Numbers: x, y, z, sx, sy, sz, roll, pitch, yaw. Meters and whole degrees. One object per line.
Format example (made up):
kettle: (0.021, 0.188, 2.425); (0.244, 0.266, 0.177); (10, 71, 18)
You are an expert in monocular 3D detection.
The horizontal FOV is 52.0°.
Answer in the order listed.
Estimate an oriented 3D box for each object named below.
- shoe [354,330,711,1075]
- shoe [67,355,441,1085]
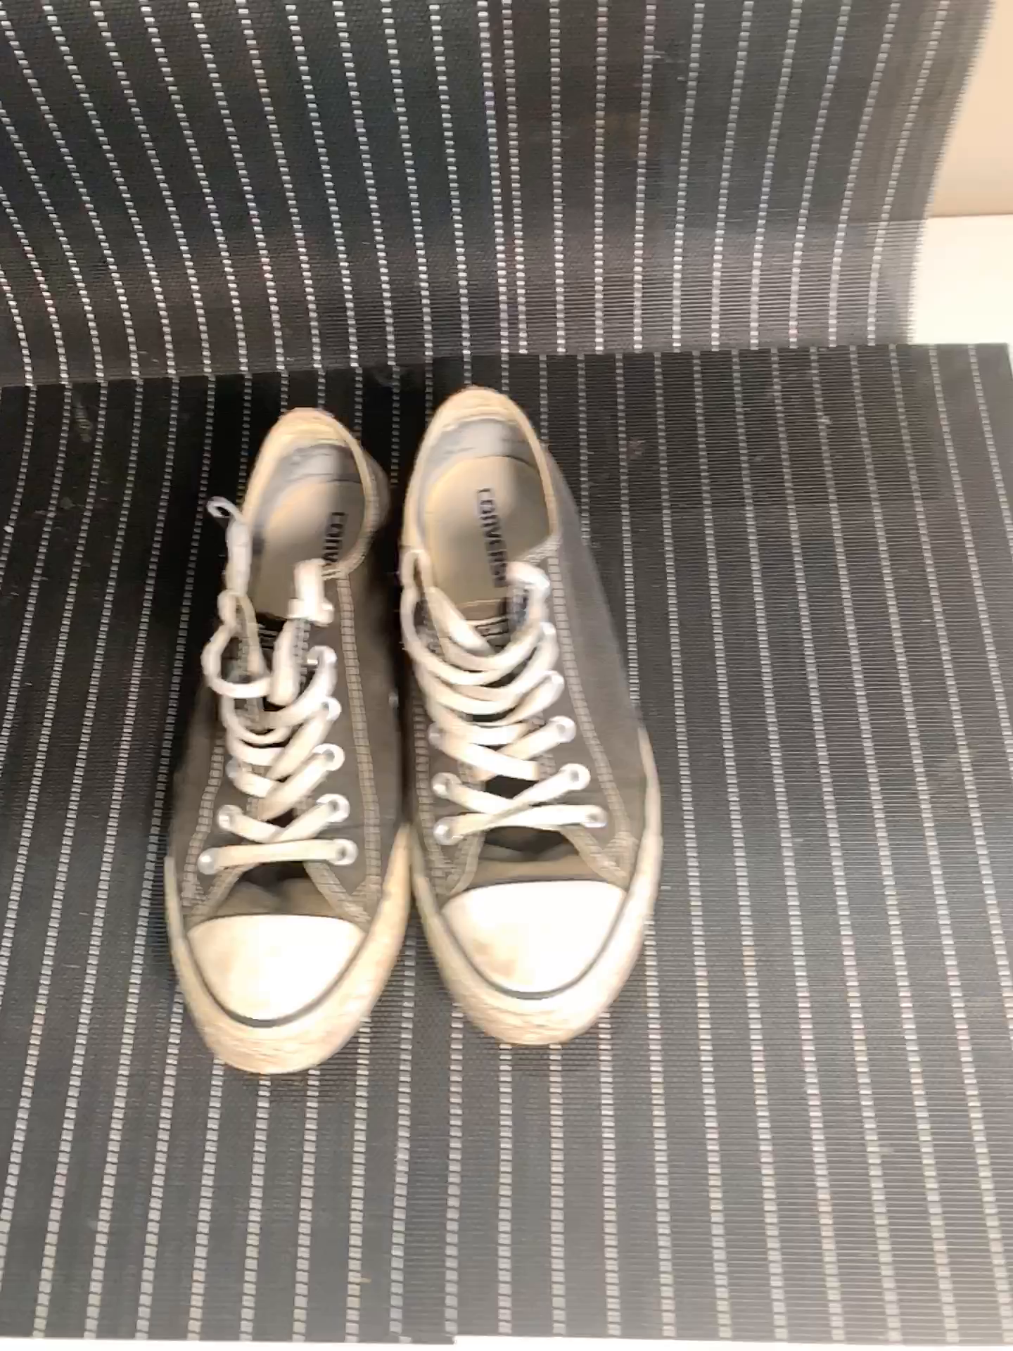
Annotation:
shoe: (0.002, 0.003, 0.444); (0.110, 0.080, 0.301); (-6, 66, 1)
shoe: (-0.091, 0.012, 0.443); (0.110, 0.080, 0.301); (-2, 66, 3)
